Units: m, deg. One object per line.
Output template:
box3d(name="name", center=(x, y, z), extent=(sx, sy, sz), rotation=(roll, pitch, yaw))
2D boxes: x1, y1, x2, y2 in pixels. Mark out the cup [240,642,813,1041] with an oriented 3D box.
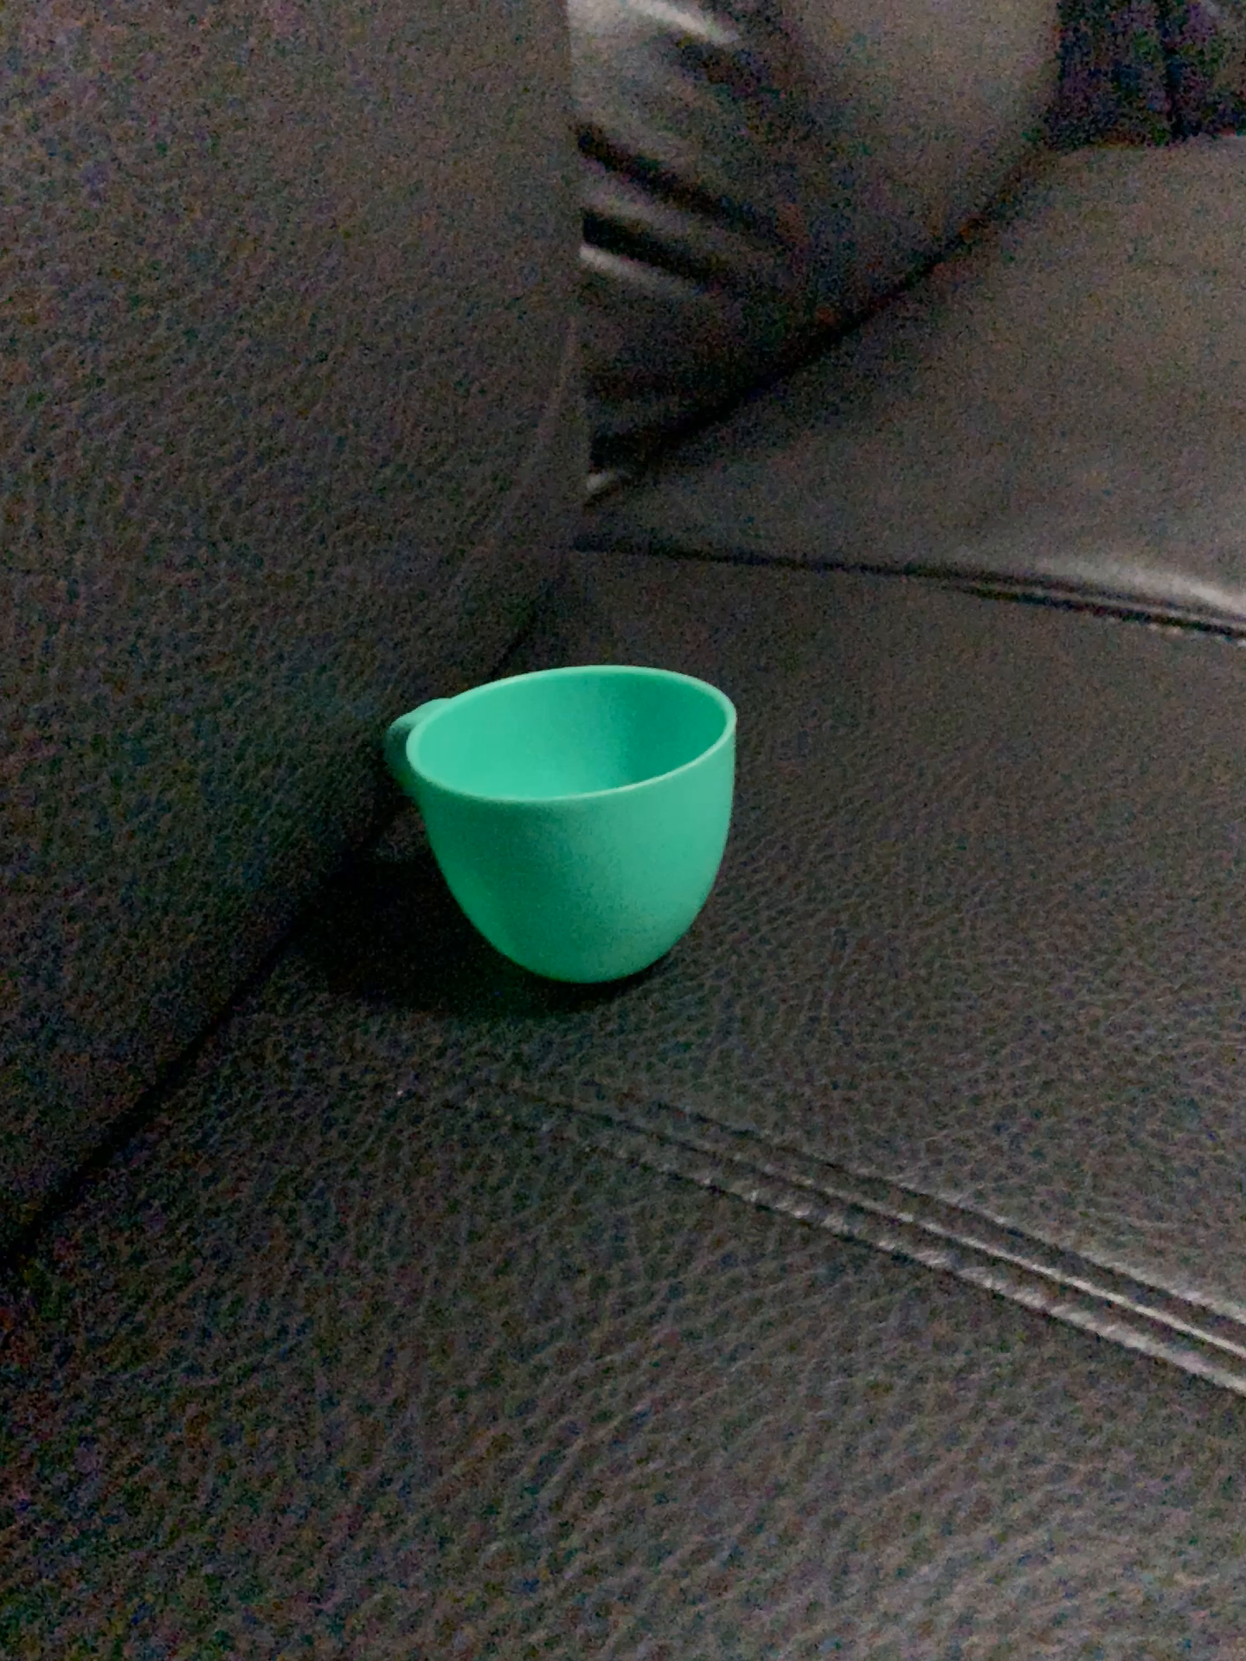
box3d(name="cup", center=(-0.014, -0.003, 0.196), extent=(0.063, 0.030, 0.054), rotation=(13, 33, 41))
